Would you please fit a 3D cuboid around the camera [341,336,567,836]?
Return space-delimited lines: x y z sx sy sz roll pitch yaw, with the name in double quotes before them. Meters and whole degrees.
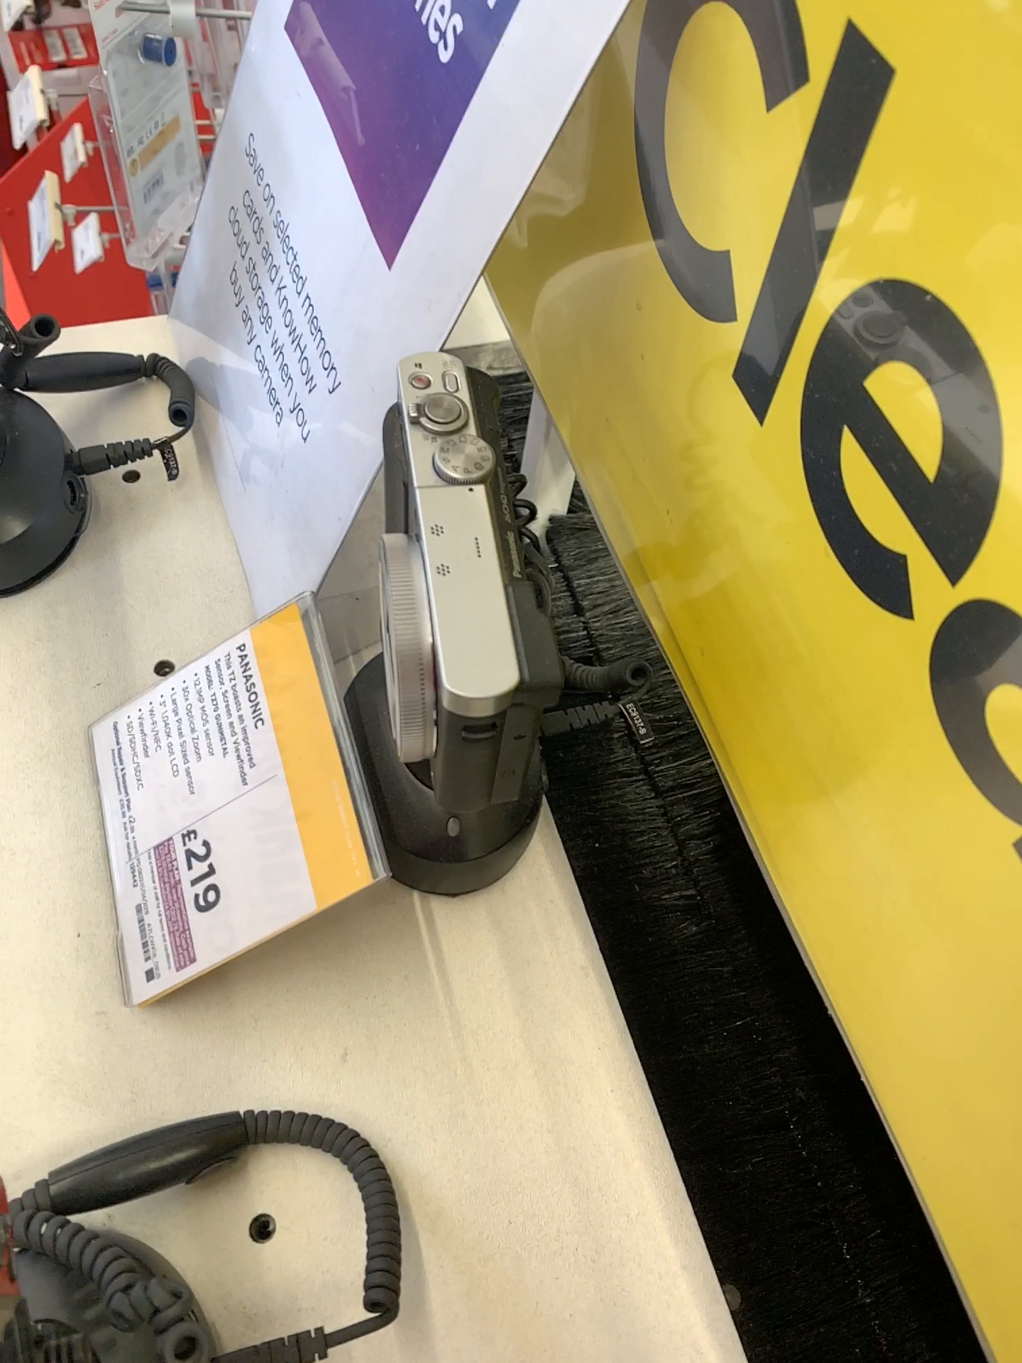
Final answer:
"camera" -0.019 -0.026 0.280 0.040 0.070 0.111 -5 59 -9
